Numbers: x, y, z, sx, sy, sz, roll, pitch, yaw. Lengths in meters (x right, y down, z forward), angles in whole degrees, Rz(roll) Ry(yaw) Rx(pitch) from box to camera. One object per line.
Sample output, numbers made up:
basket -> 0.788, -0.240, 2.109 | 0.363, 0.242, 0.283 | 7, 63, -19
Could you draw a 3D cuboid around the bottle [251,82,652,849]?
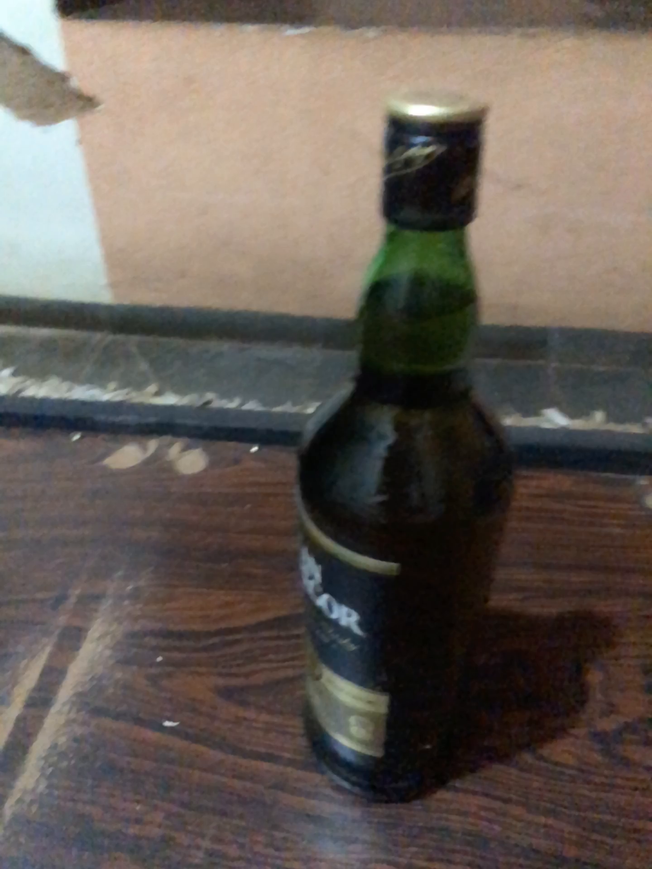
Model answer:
bottle -> 0.037, 0.037, 0.295 | 0.100, 0.308, 0.101 | -1, 37, 1
